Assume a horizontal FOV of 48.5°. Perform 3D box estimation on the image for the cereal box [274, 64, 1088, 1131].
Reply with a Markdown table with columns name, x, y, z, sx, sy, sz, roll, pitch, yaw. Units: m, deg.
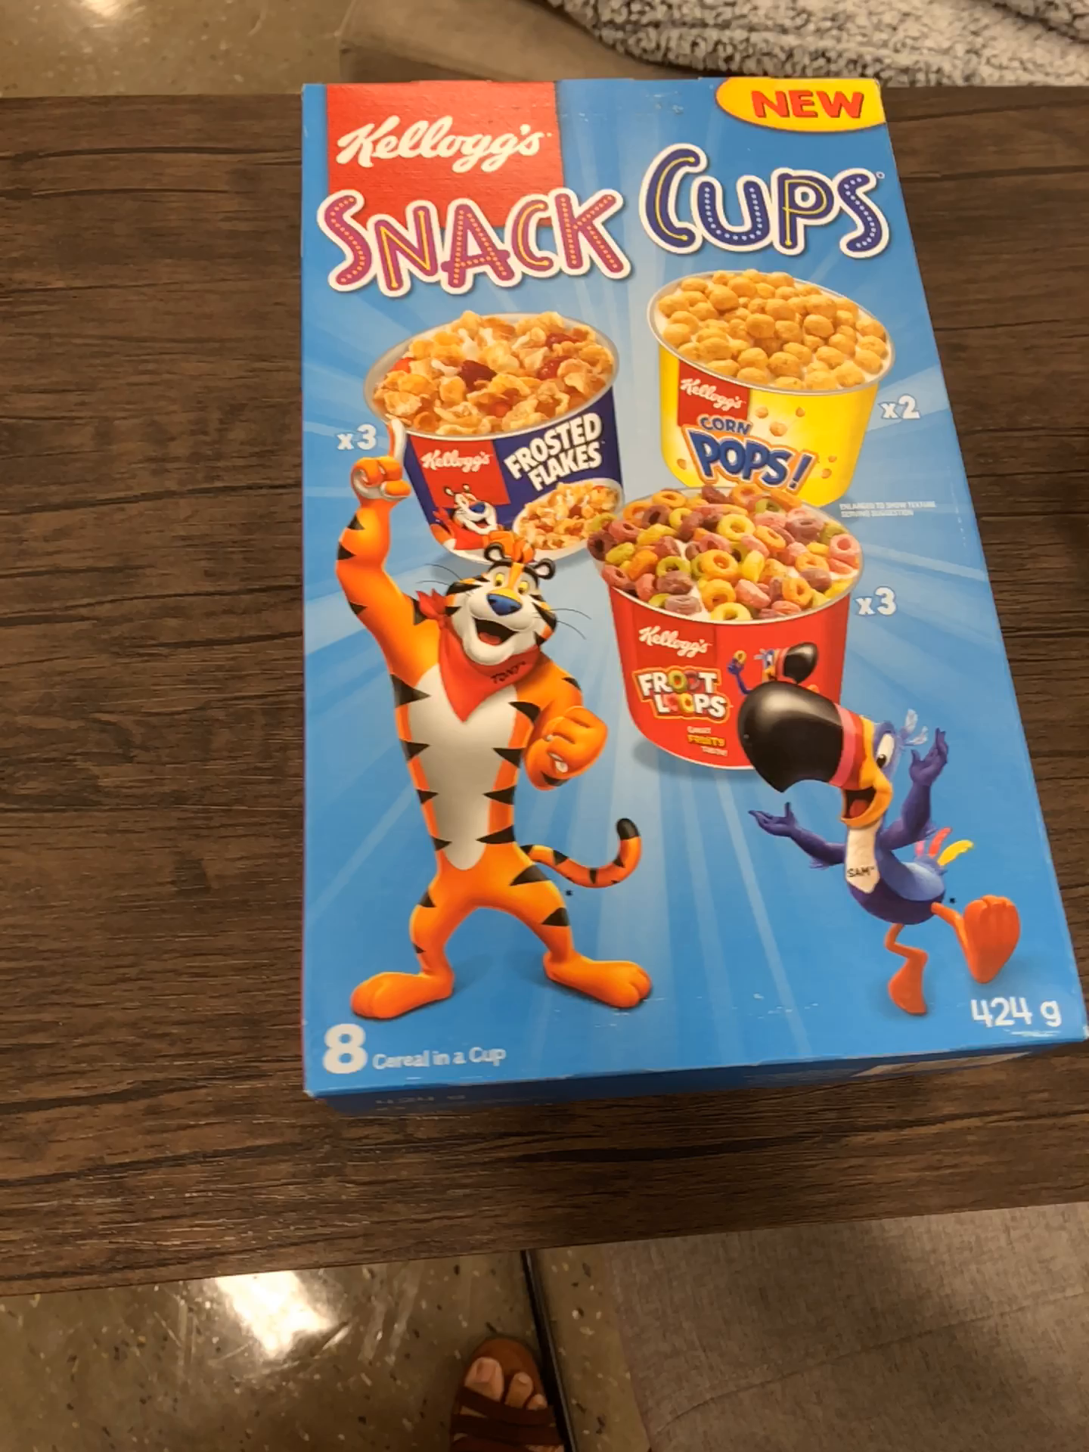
| name | x | y | z | sx | sy | sz | roll | pitch | yaw |
| --- | --- | --- | --- | --- | --- | --- | --- | --- | --- |
| cereal box | 0.031 | -0.049 | 0.398 | 0.220 | 0.100 | 0.330 | -3 | 71 | -4 |
